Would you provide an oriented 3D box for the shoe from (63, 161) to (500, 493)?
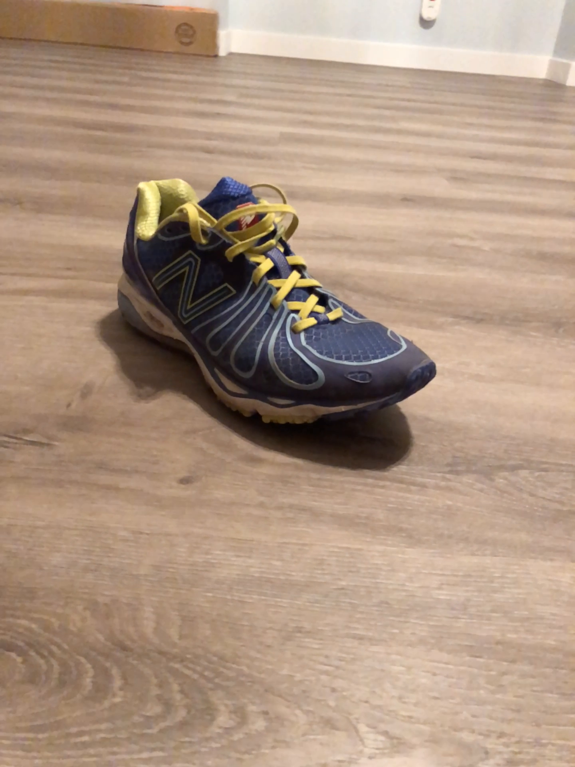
[{"bbox_3d":[-0.020,-0.057,0.396,0.251,0.099,0.110,29,38,35],"label":"shoe"}]
